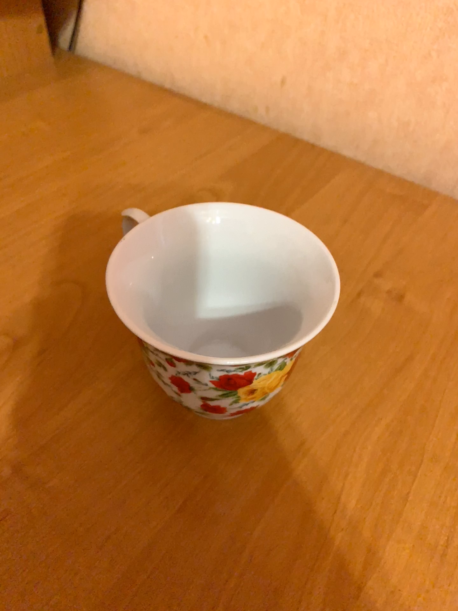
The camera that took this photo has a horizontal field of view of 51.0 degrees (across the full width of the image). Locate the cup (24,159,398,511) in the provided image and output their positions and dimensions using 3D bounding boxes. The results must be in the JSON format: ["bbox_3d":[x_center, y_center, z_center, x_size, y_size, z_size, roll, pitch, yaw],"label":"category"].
[{"bbox_3d":[-0.011,0.003,0.222,0.100,0.067,0.120,-33,56,-30],"label":"cup"}]
